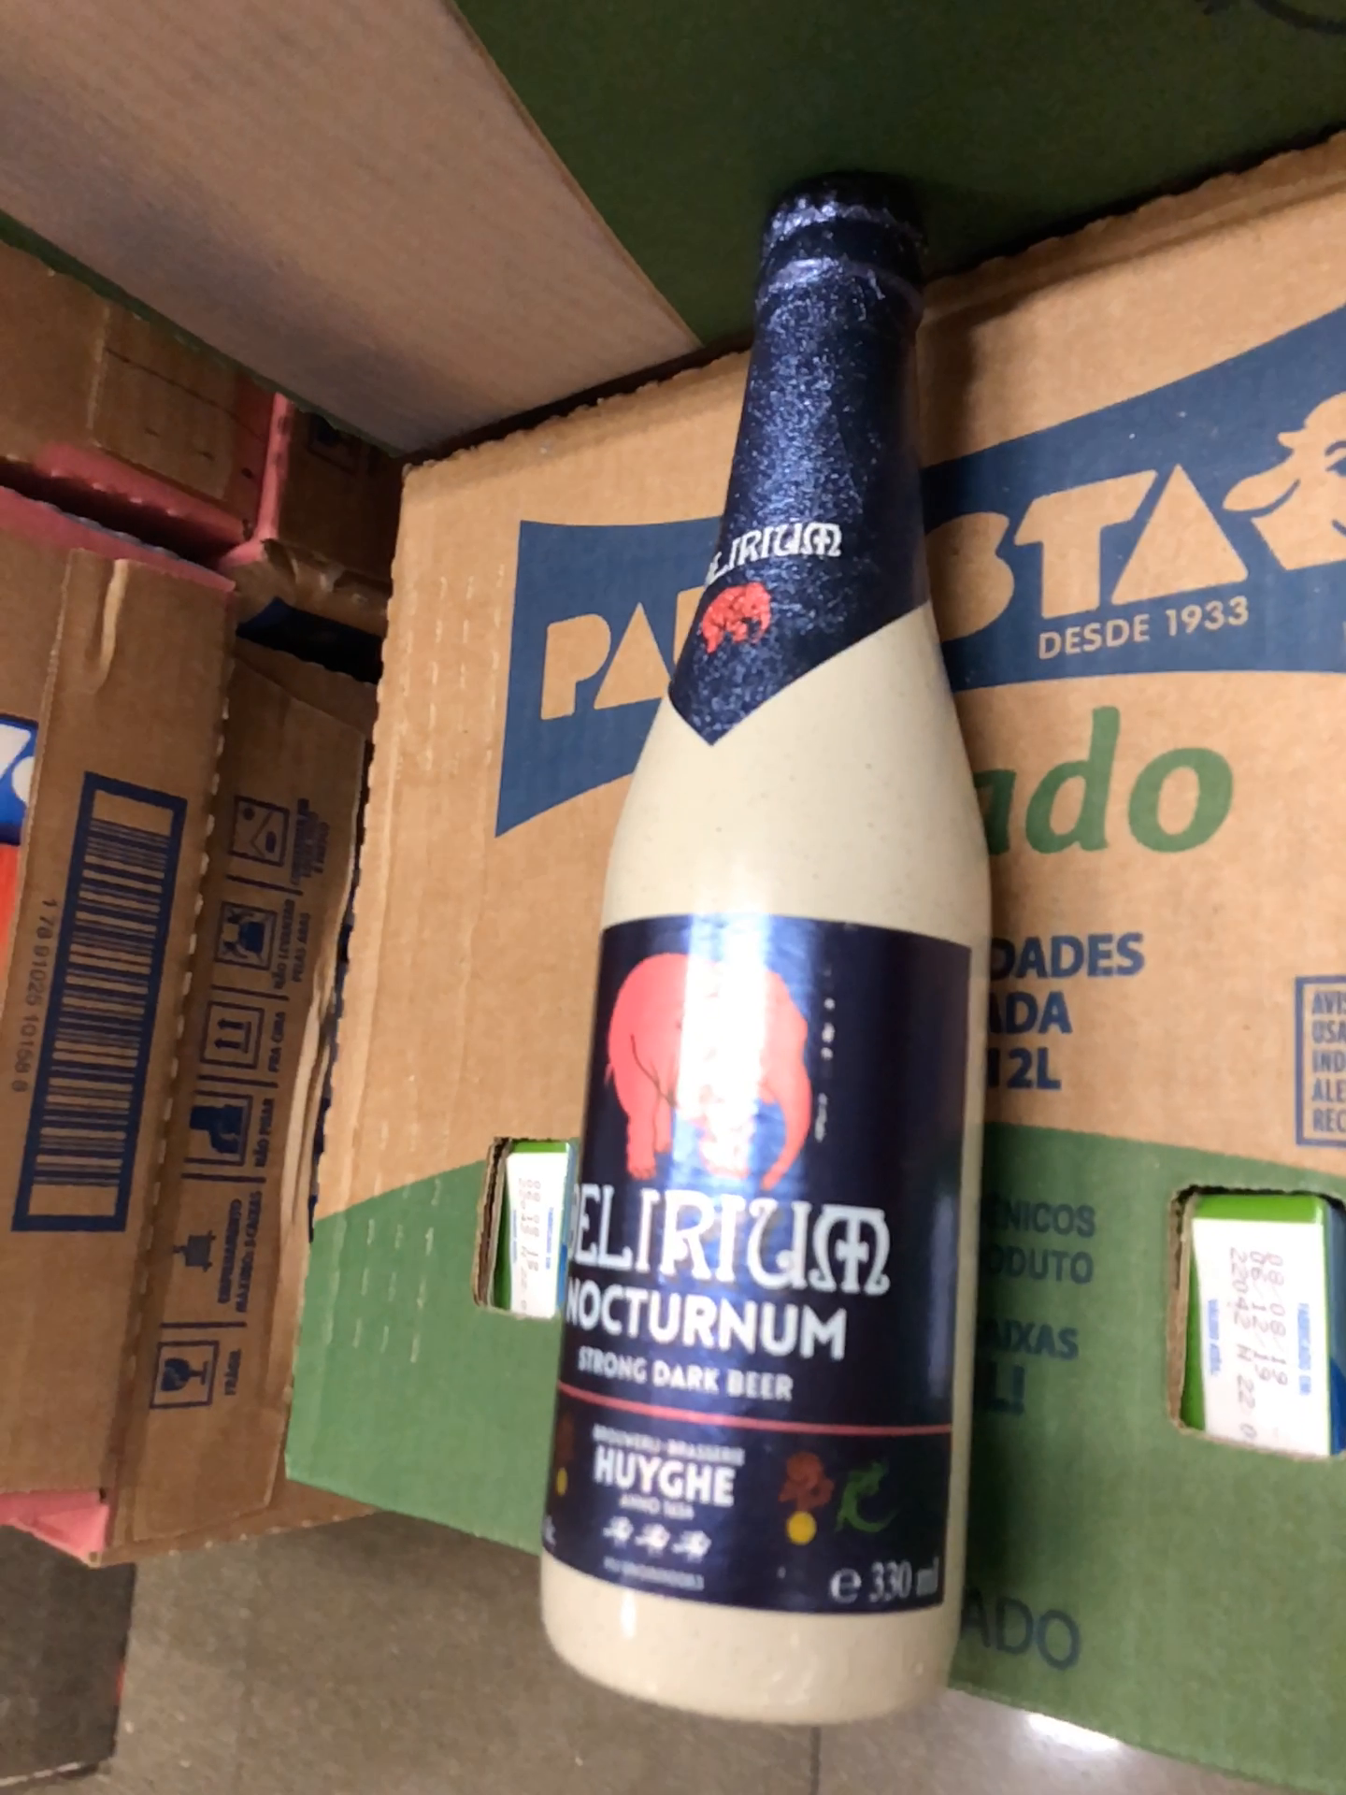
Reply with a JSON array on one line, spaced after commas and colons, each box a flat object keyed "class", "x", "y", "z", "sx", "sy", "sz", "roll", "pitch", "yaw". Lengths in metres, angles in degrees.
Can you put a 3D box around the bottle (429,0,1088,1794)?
[{"class": "bottle", "x": 0.019, "y": -0.016, "z": 0.222, "sx": 0.060, "sy": 0.050, "sz": 0.250, "roll": -5, "pitch": 74, "yaw": 39}]
